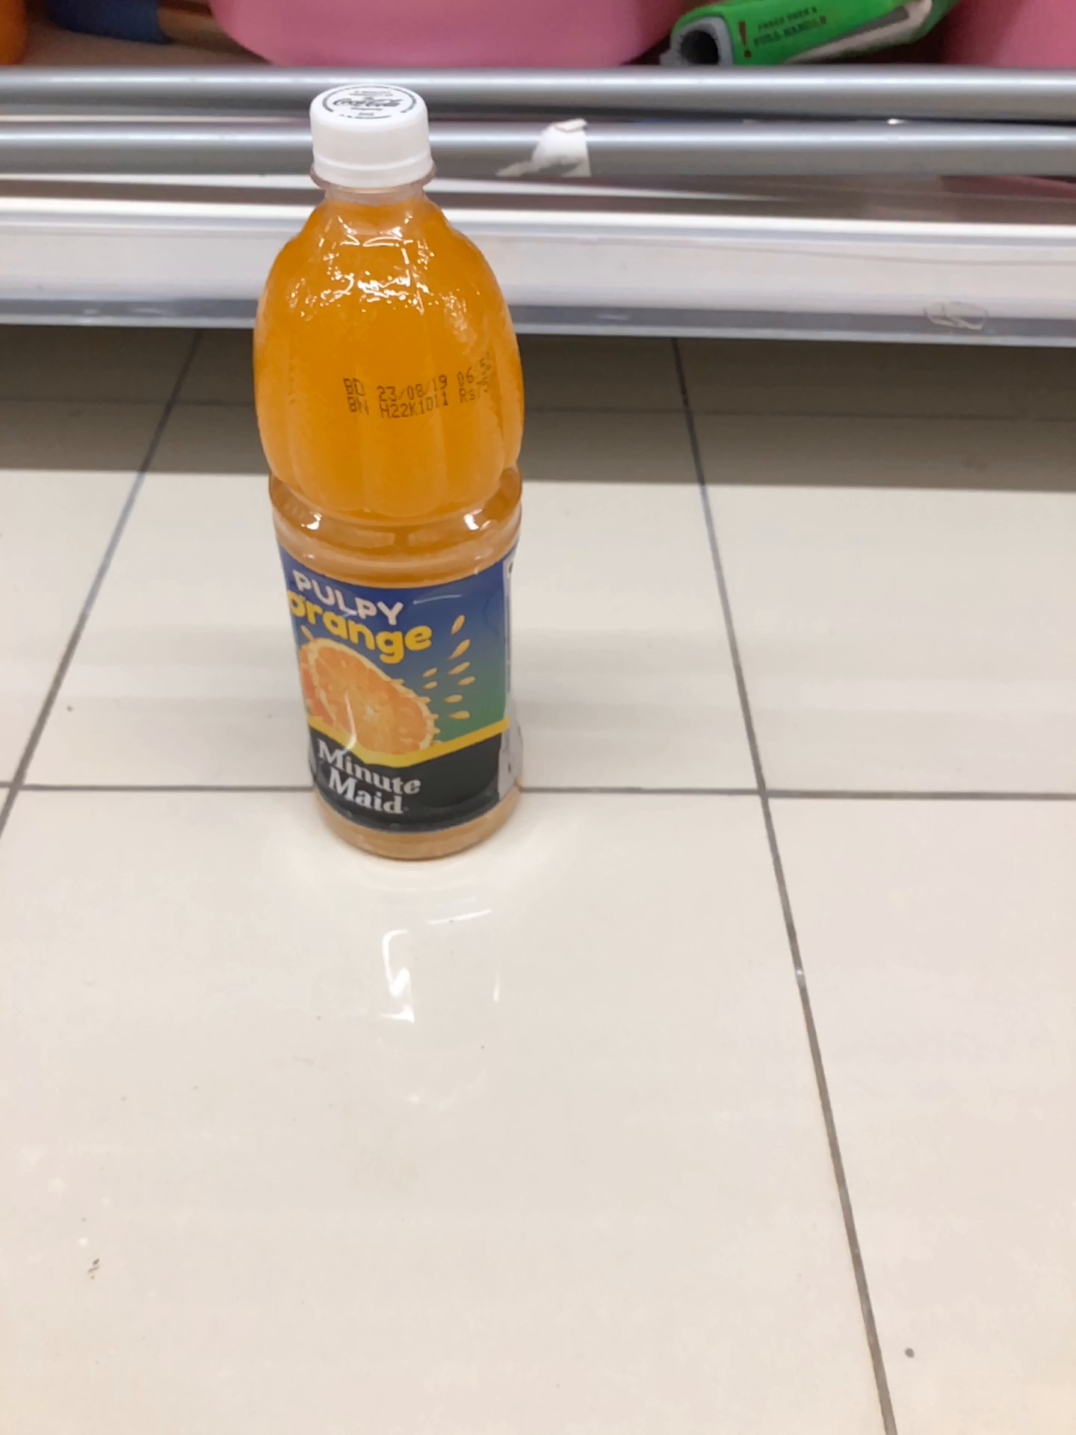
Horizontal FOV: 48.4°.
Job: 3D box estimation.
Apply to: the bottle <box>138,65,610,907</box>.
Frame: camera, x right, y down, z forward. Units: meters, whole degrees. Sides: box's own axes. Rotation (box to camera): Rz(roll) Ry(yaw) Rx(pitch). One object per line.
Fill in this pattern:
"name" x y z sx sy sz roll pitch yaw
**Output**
"bottle" -0.041 -0.060 0.391 0.090 0.245 0.091 1 44 -1
